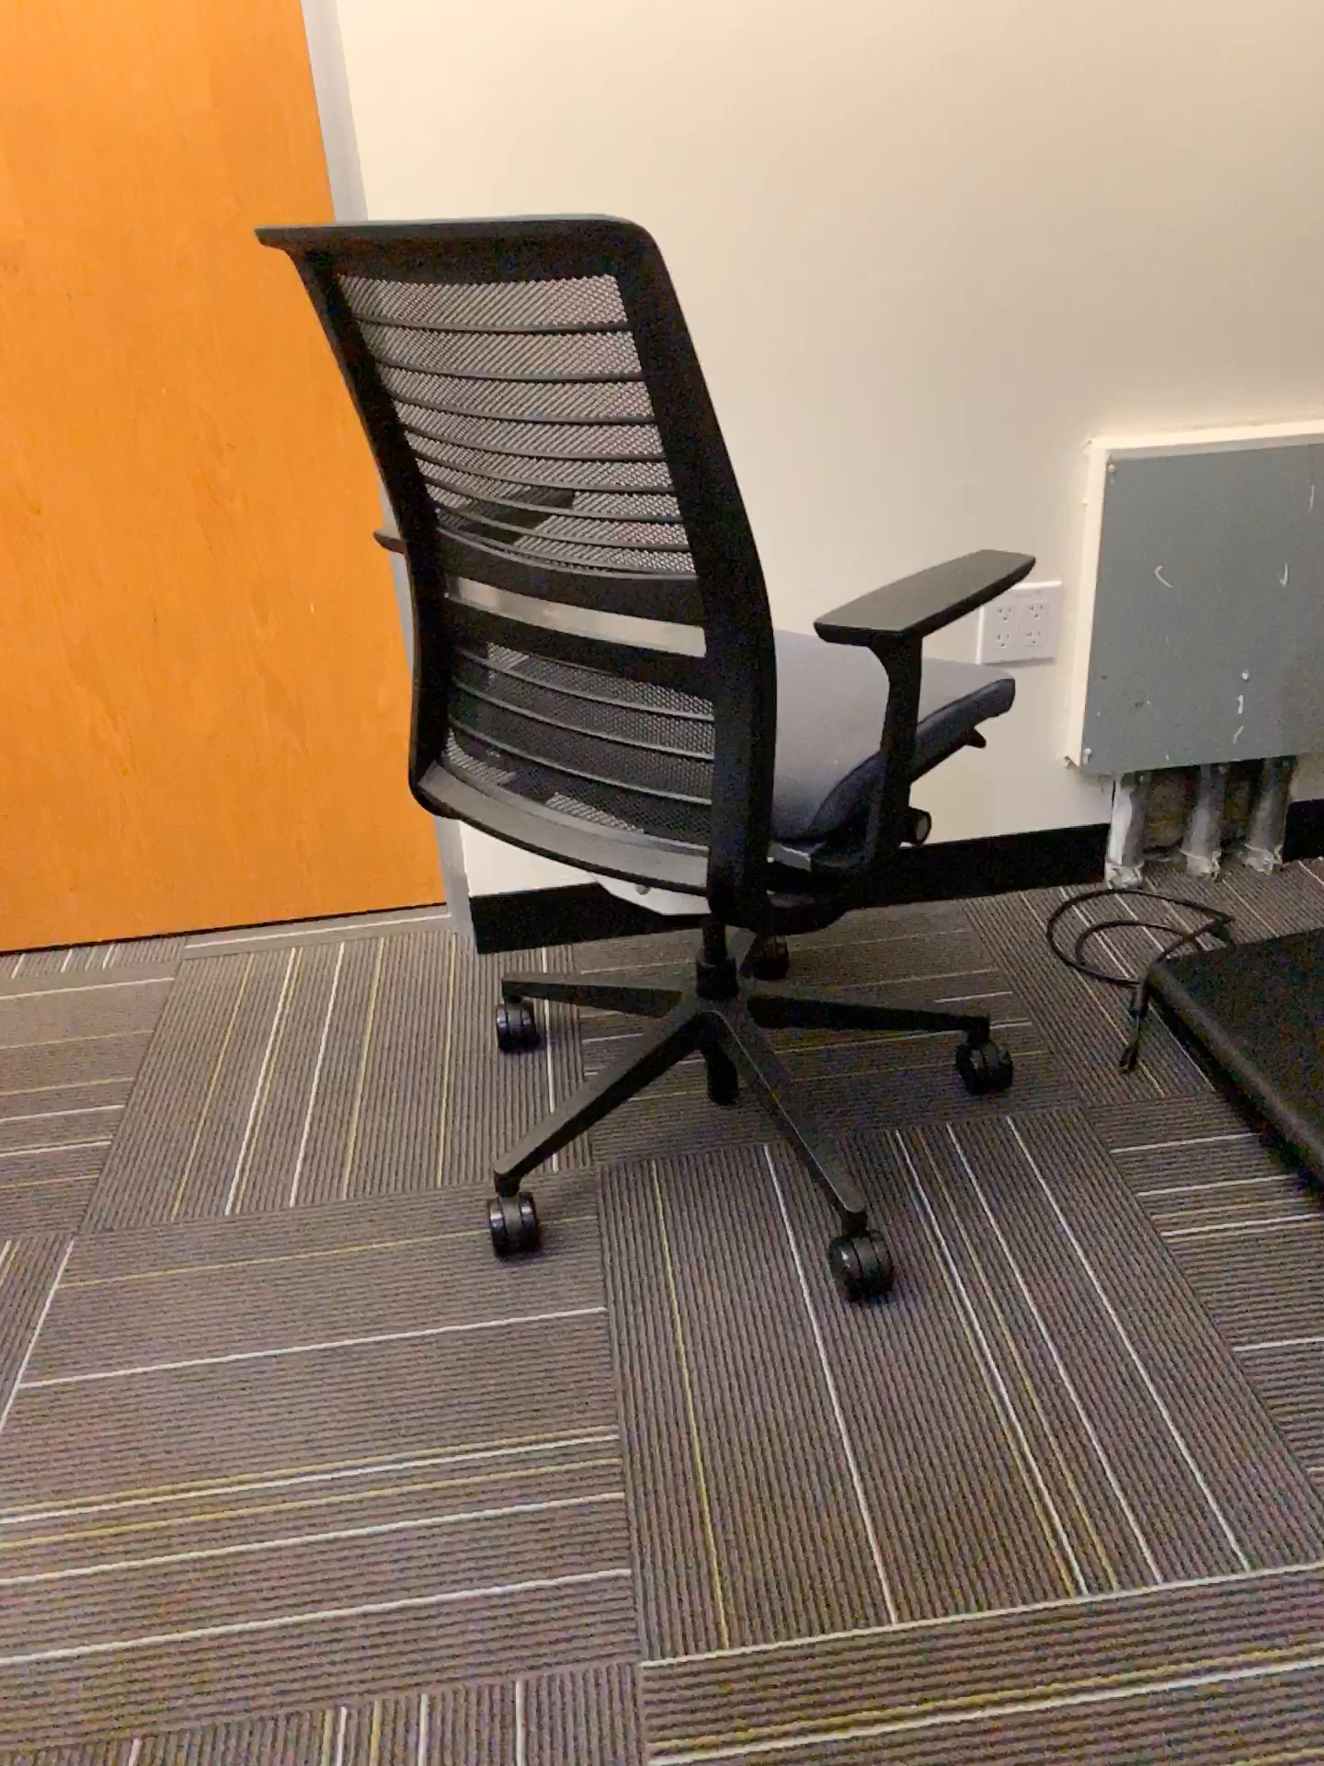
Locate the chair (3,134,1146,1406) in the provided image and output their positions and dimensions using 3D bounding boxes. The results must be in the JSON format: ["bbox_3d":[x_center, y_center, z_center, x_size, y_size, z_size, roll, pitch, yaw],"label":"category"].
[{"bbox_3d":[0.011,-0.203,1.453,0.742,0.994,0.783,11,32,26],"label":"chair"}]
